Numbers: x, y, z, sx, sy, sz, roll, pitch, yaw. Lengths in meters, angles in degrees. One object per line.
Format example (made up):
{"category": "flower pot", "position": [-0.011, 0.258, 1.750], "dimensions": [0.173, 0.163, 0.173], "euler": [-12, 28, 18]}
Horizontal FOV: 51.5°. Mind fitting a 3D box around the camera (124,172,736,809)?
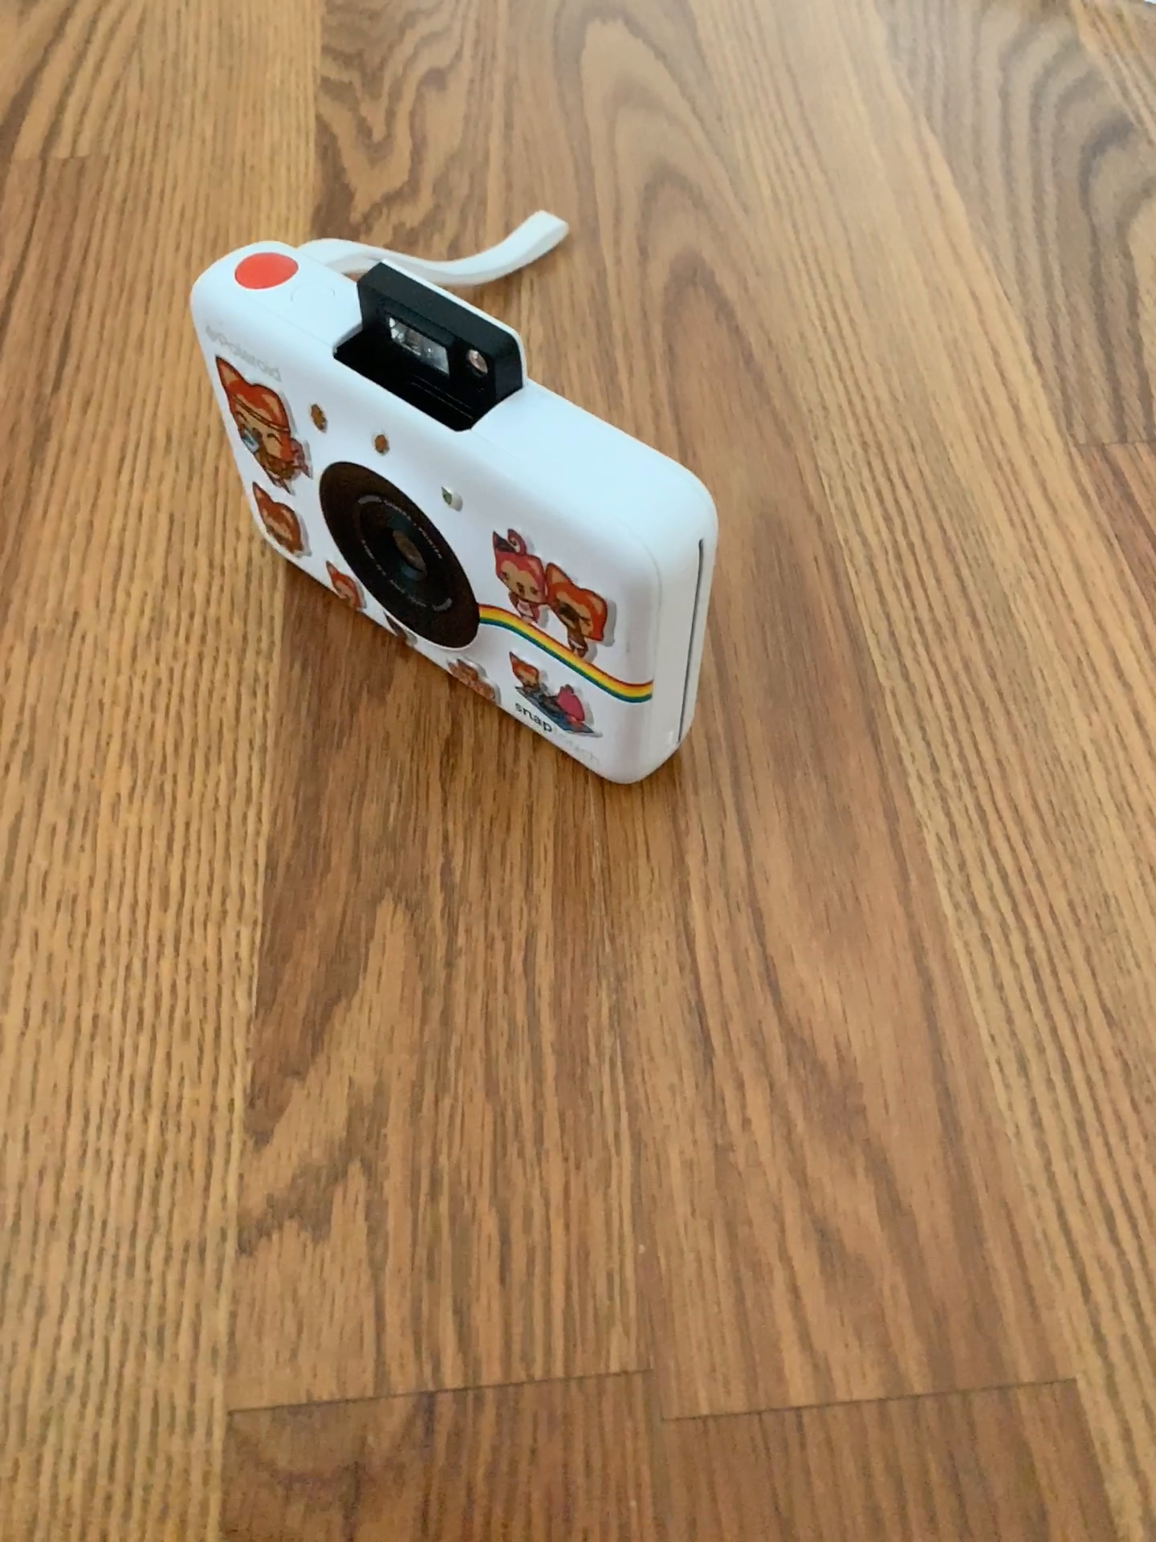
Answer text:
{"category": "camera", "position": [-0.030, -0.056, 0.245], "dimensions": [0.126, 0.081, 0.026], "euler": [35, 64, 22]}
